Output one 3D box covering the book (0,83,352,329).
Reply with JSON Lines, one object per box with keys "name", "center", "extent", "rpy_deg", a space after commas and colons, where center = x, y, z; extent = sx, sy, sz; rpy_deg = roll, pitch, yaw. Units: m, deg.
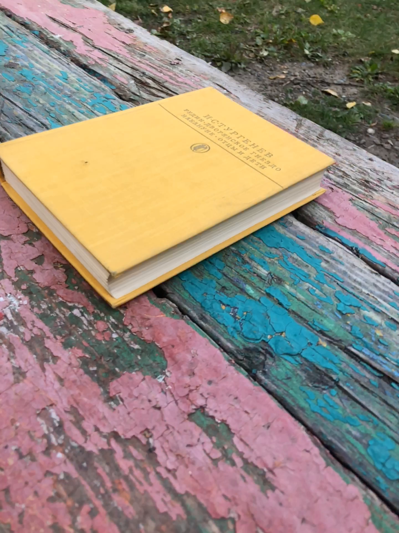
{"name": "book", "center": [-0.017, -0.067, 0.322], "extent": [0.217, 0.032, 0.153], "rpy_deg": [-29, 57, -33]}
